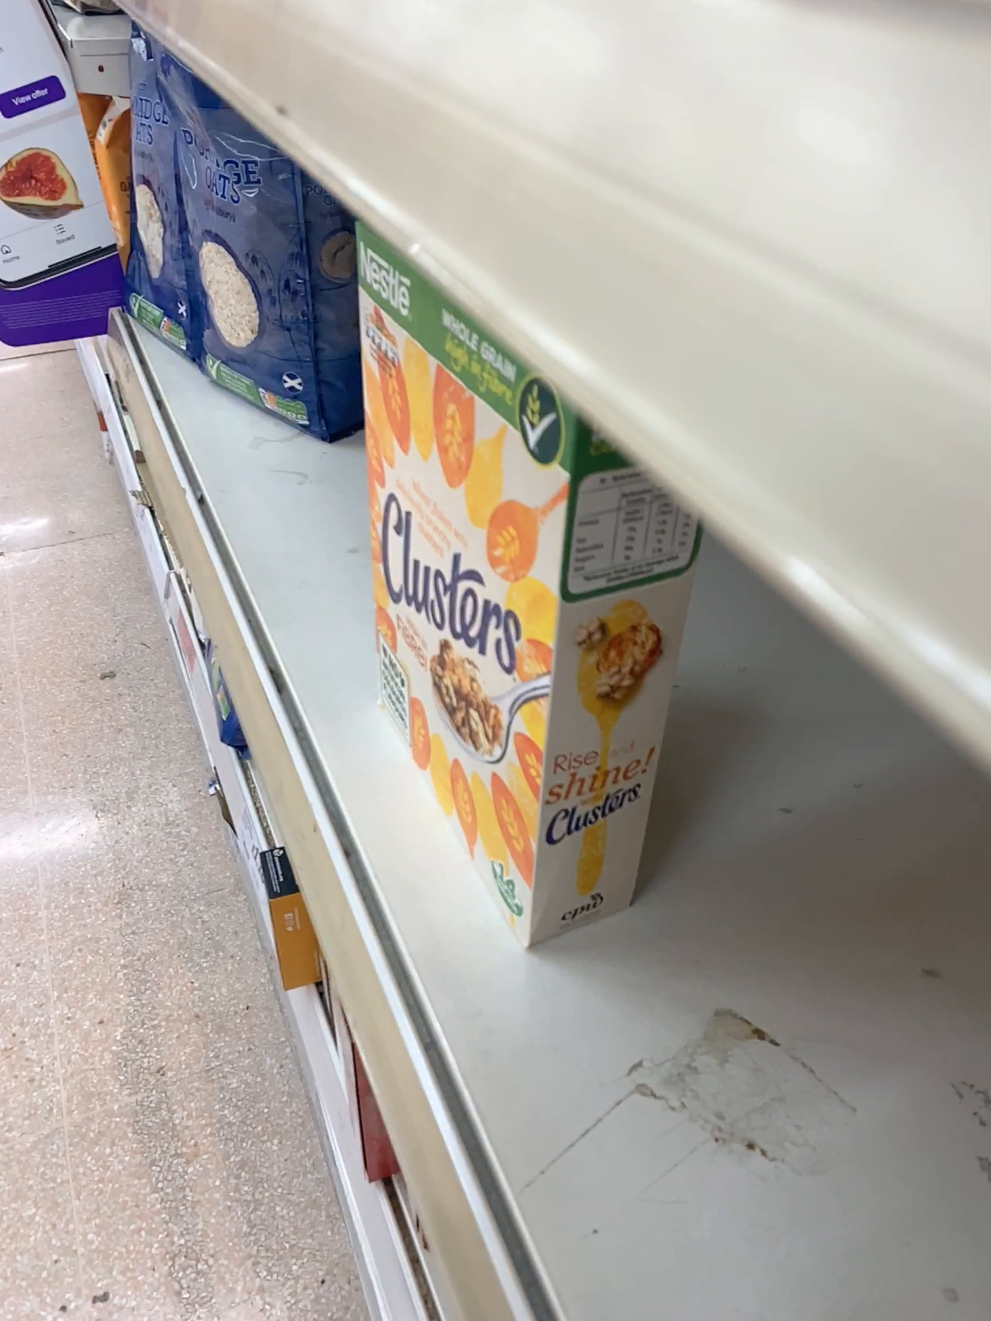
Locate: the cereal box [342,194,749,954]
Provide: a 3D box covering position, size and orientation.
[{"bbox_3d":[0.001,-0.038,0.452,0.060,0.267,0.202,-15,41,-22],"label":"cereal box"}]
